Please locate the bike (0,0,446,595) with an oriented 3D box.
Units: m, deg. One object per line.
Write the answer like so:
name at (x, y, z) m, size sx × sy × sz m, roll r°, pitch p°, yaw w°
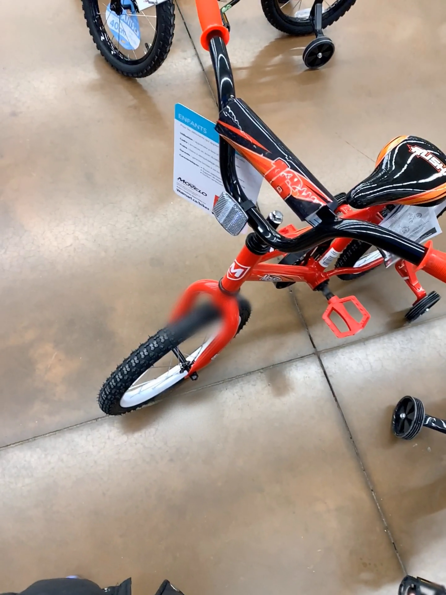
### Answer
bike at (0.224, -0.093, 0.933) m, size 1.070 × 0.851 × 0.586 m, roll -29°, pitch 72°, yaw -19°
